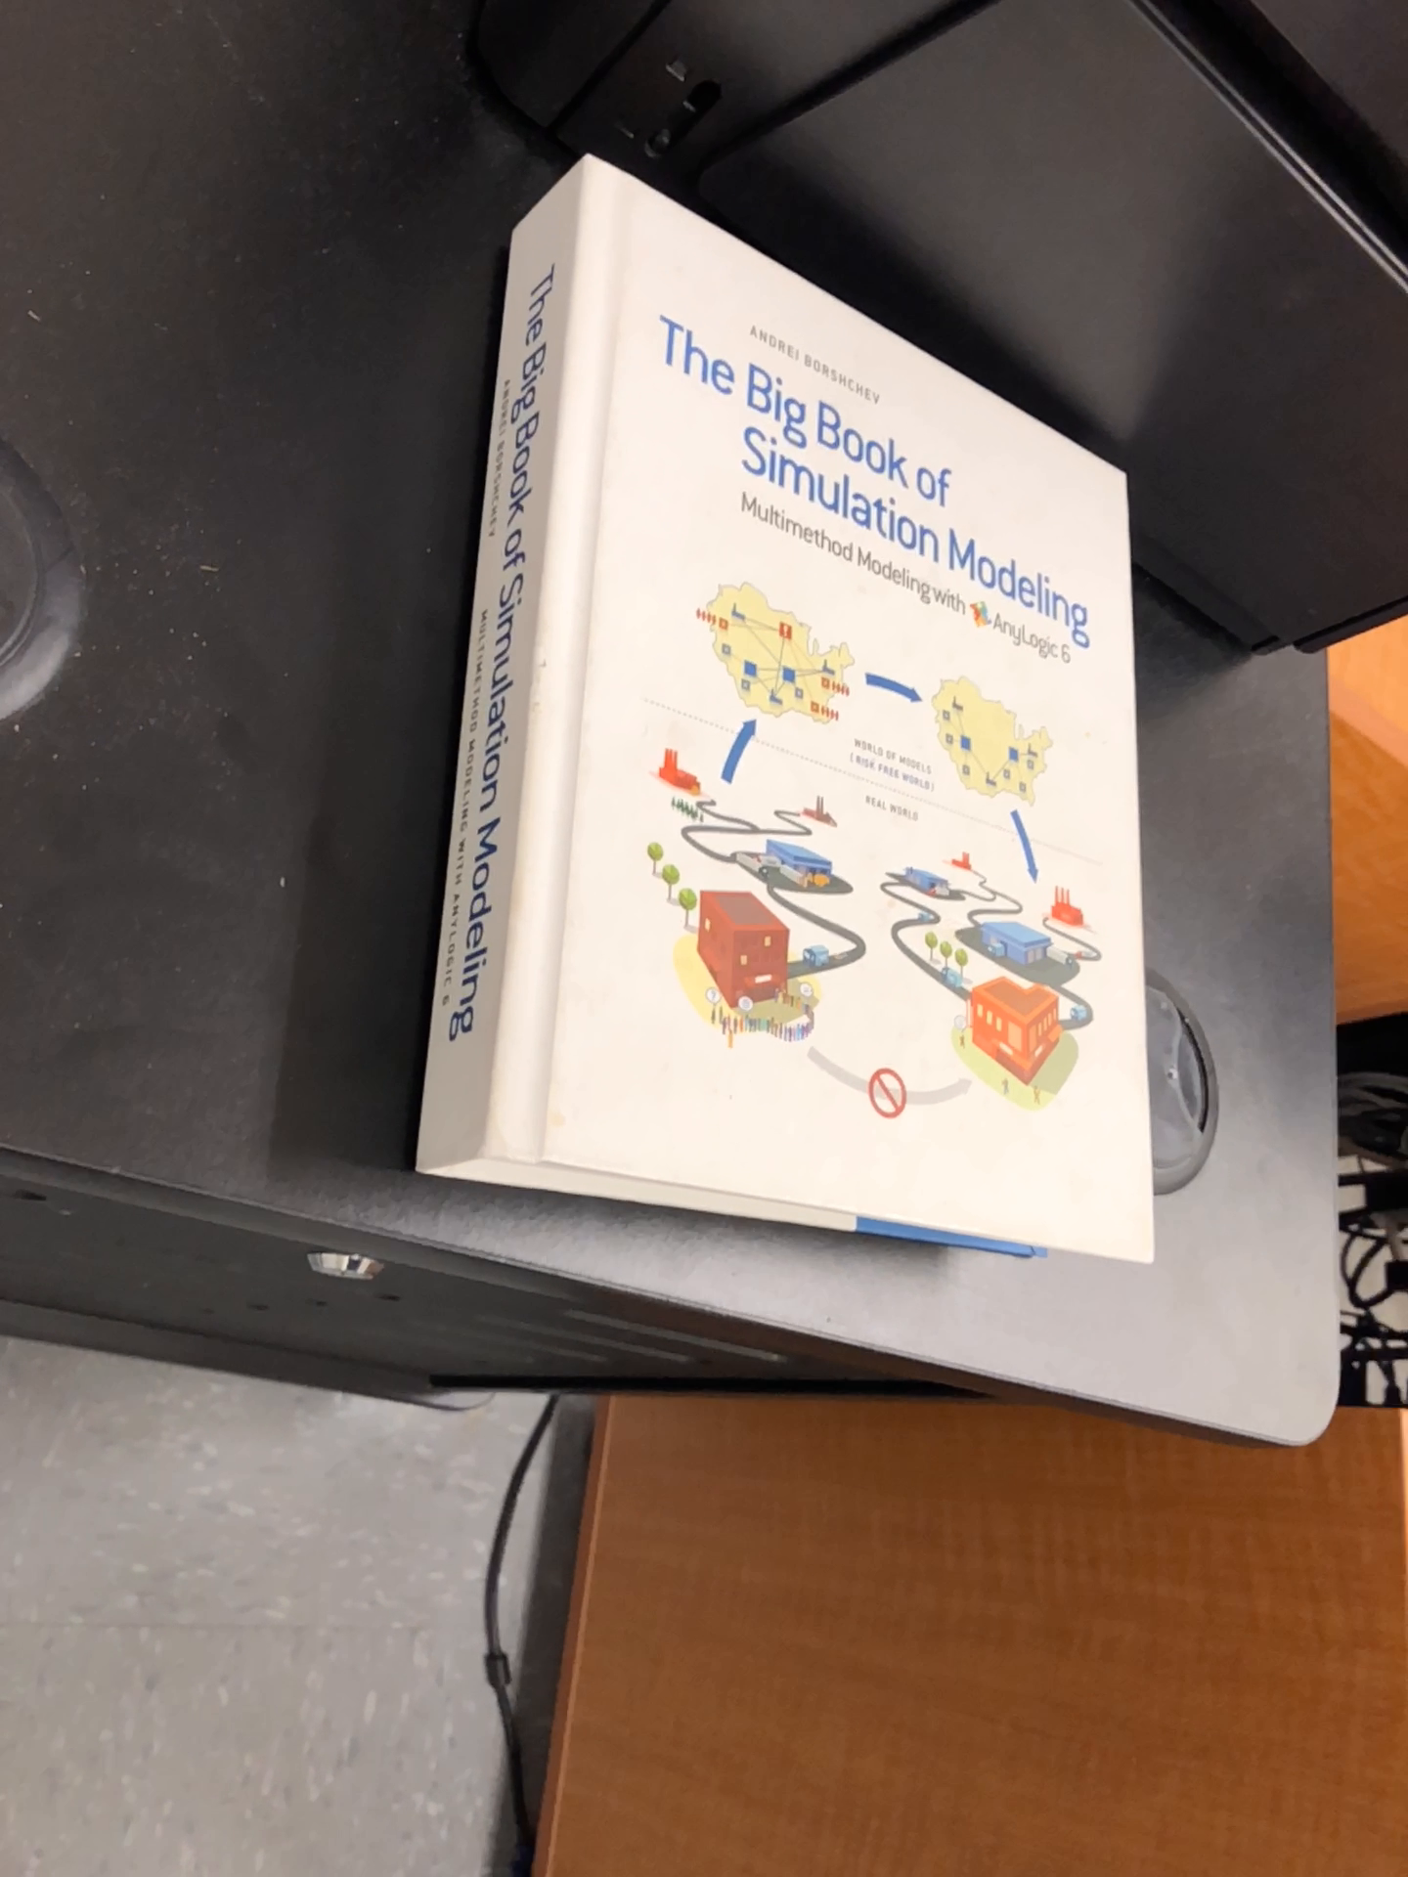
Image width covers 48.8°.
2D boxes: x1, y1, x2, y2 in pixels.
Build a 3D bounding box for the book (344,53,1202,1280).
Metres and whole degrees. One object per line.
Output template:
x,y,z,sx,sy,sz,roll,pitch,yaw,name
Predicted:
0.033,-0.053,0.391,0.211,0.050,0.250,15,68,-34,book
